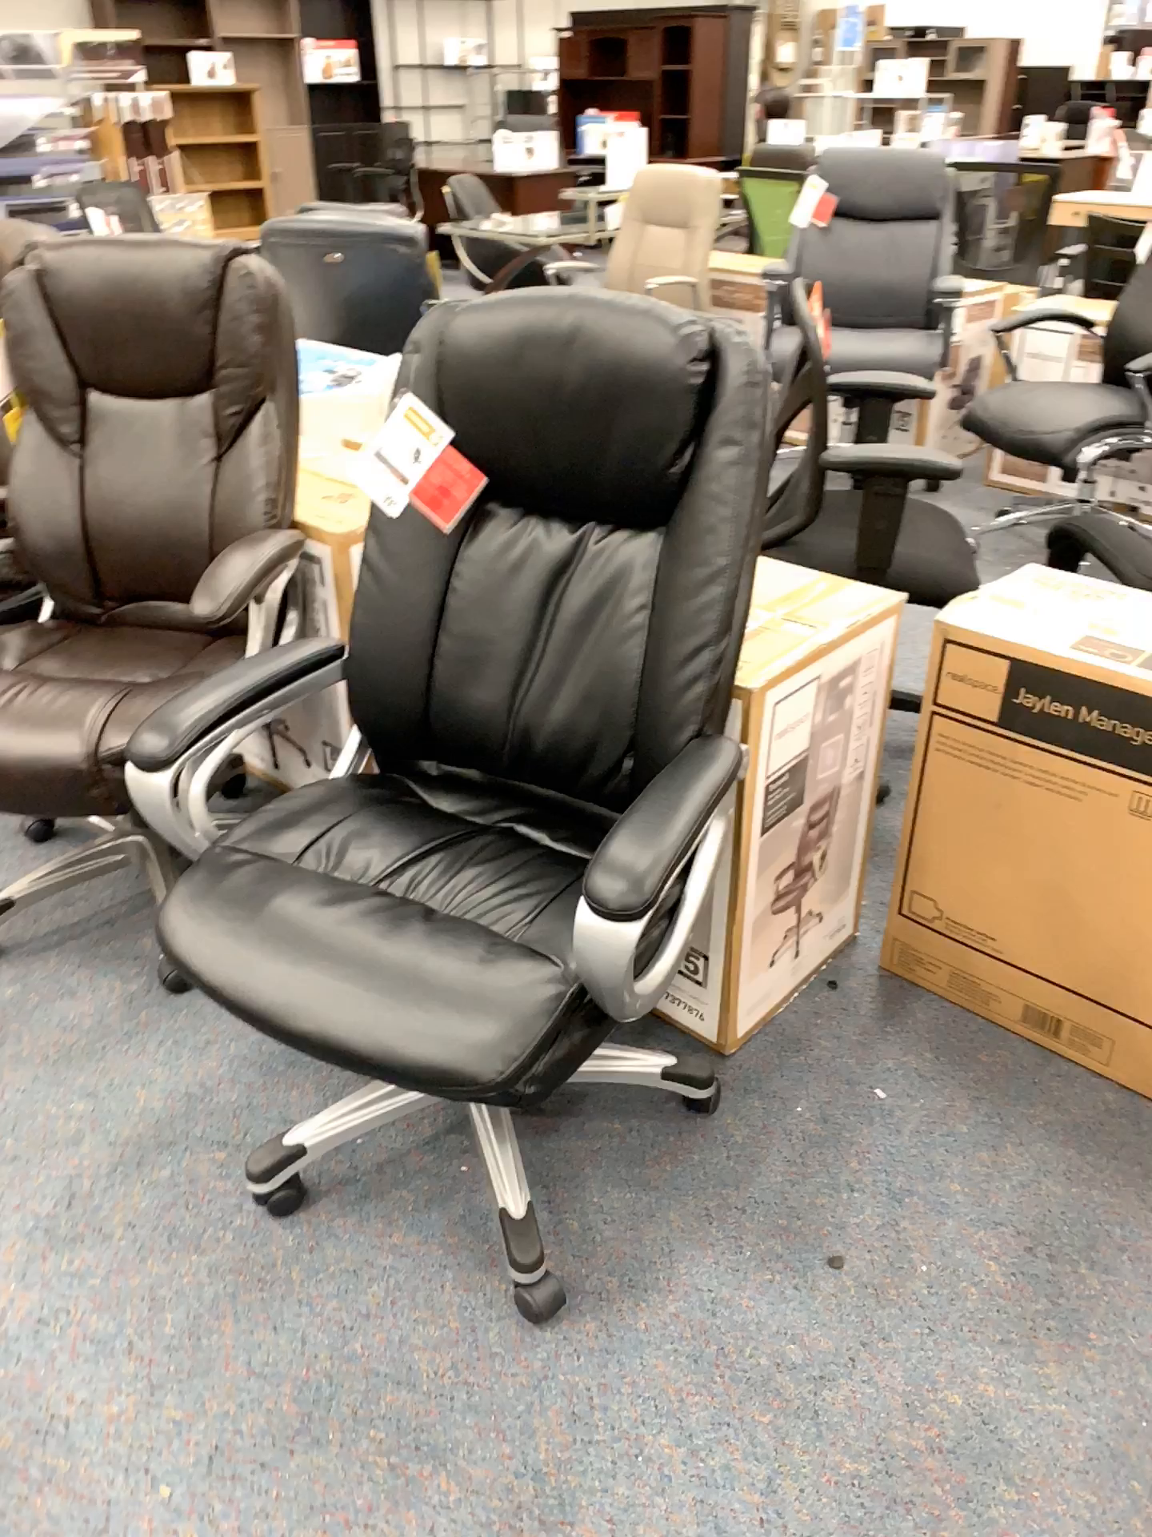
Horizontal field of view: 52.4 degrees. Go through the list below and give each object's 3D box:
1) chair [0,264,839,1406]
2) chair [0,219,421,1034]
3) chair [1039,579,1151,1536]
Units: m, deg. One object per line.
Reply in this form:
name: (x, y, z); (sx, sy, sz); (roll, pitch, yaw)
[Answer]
chair: (-0.166, 0.018, 1.421); (0.676, 1.055, 0.659); (15, 33, 25)
chair: (-0.804, -0.294, 1.952); (0.755, 1.045, 0.790); (8, 31, 15)
chair: (0.848, 0.517, 0.640); (0.839, 0.926, 0.666); (16, 34, 27)
